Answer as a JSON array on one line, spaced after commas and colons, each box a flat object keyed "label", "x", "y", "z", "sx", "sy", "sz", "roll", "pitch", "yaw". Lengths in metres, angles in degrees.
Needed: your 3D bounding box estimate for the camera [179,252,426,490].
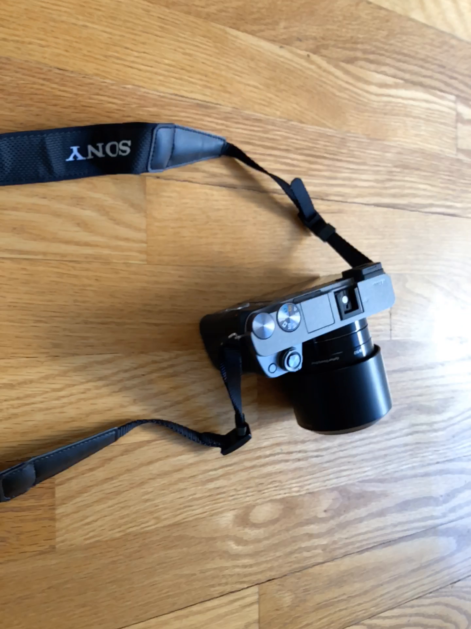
[{"label": "camera", "x": 0.050, "y": 0.030, "z": 0.360, "sx": 0.140, "sy": 0.060, "sz": 0.110, "roll": -20, "pitch": 99, "yaw": -29}]
